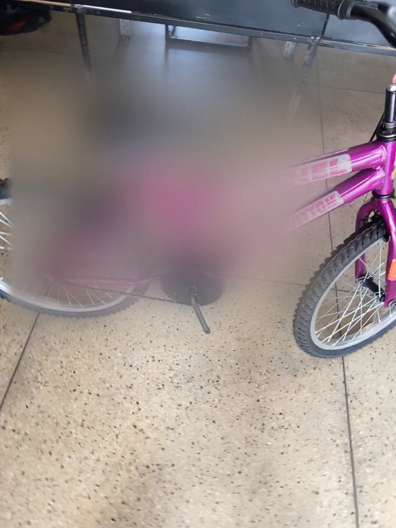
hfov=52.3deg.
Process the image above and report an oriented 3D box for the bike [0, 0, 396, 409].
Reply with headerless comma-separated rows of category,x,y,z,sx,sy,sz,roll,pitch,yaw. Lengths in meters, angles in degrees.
bike,0.040,-0.130,0.913,1.261,0.934,0.618,1,54,-3
